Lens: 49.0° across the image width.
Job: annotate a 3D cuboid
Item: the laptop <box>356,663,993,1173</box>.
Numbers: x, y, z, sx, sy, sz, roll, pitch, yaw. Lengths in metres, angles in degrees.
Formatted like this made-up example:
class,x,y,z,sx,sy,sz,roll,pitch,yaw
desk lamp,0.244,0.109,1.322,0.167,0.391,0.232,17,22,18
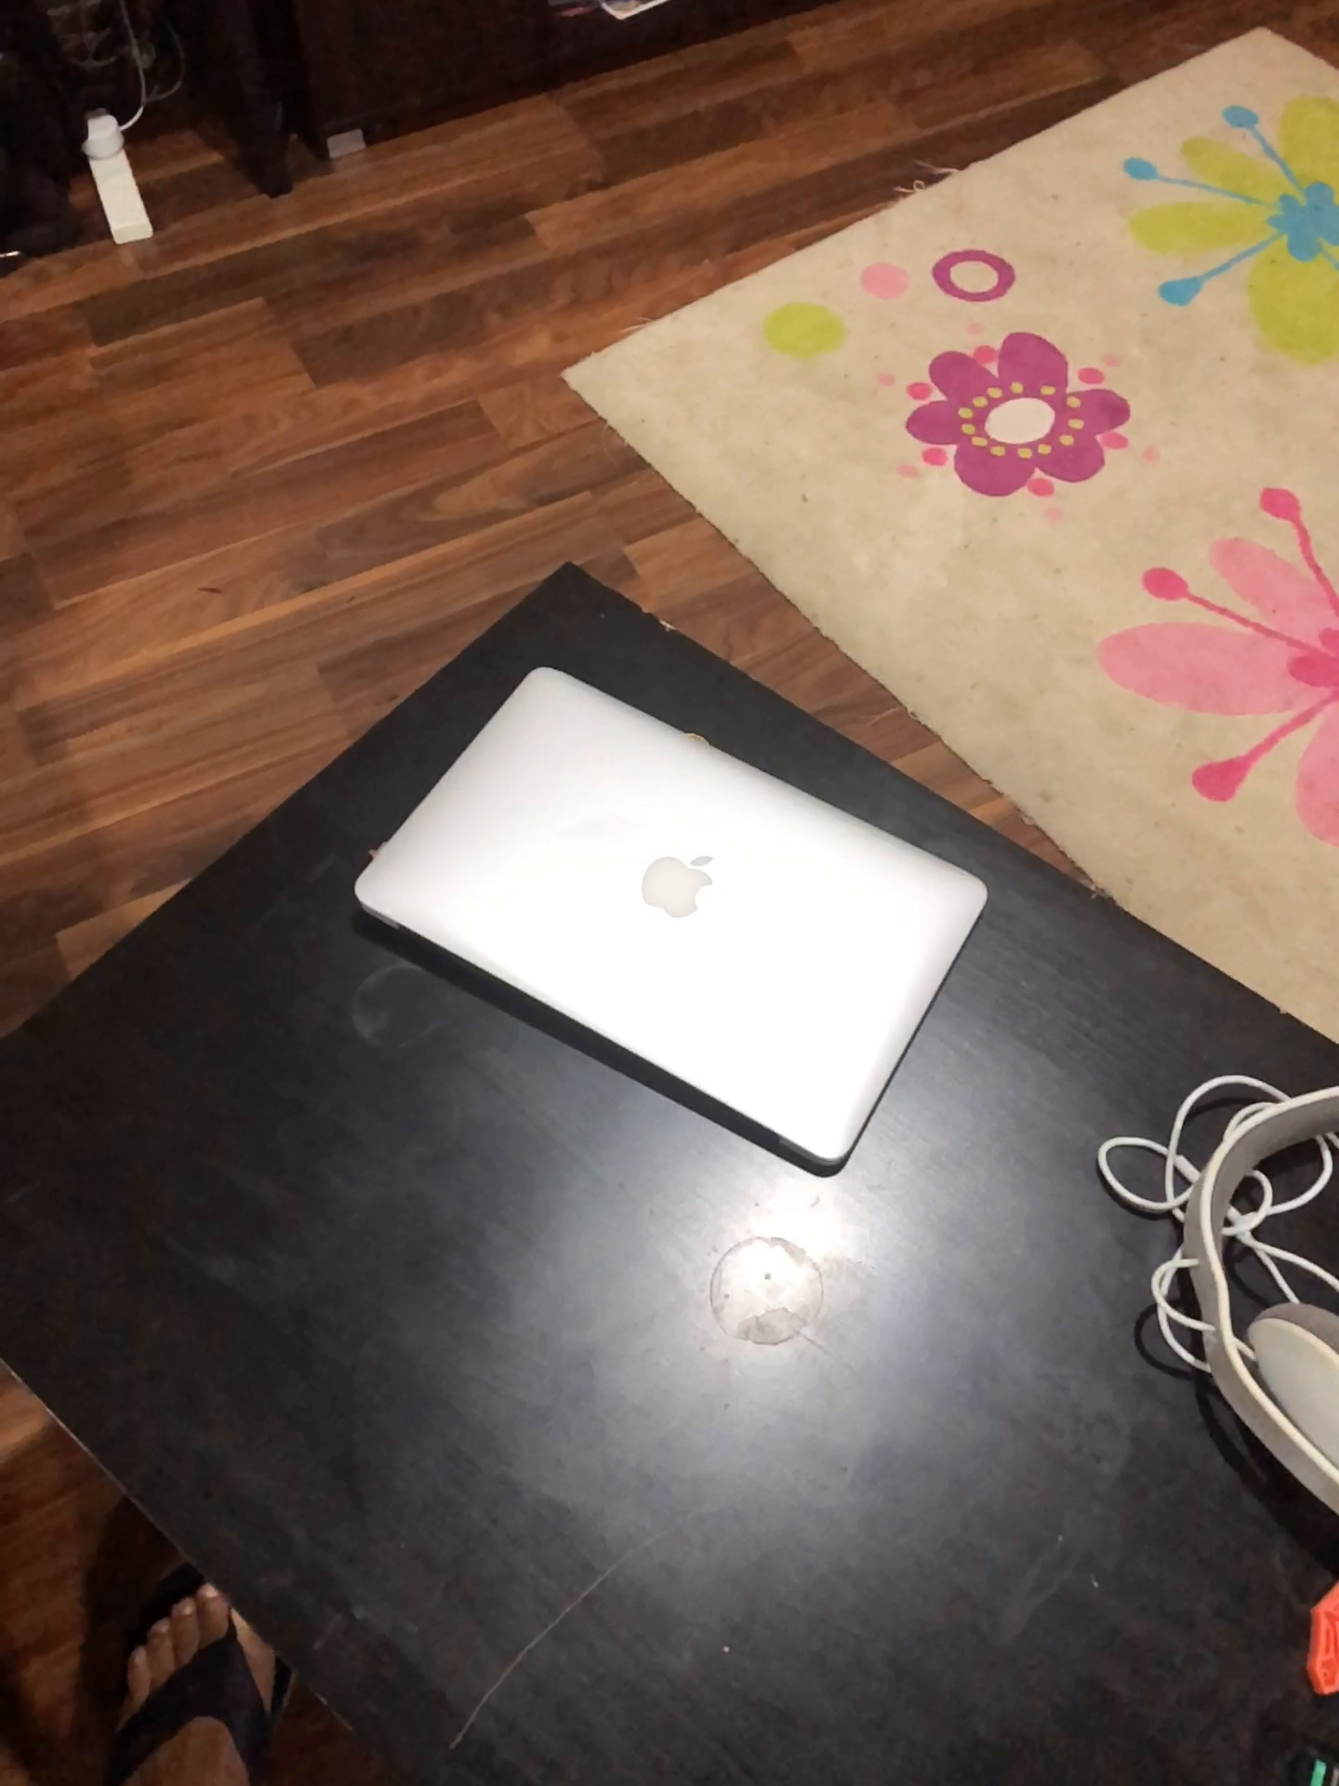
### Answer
class,x,y,z,sx,sy,sz,roll,pitch,yaw
laptop,0.004,0.003,0.829,0.300,0.011,0.190,28,66,12
